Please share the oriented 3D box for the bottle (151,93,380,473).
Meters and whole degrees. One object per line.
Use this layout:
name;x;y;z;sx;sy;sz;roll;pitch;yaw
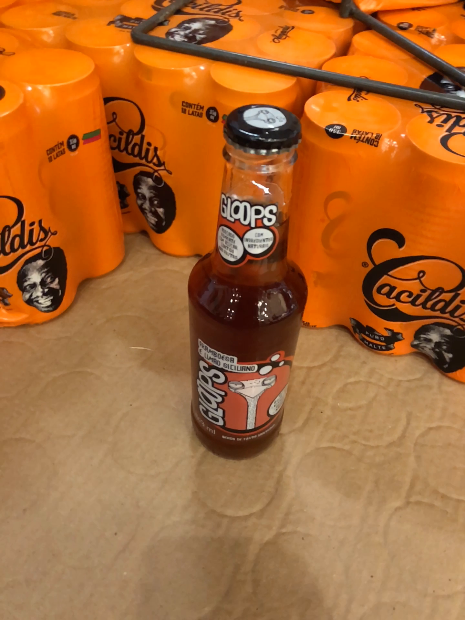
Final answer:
bottle;0.009;0.006;0.243;0.070;0.189;0.050;7;47;3
